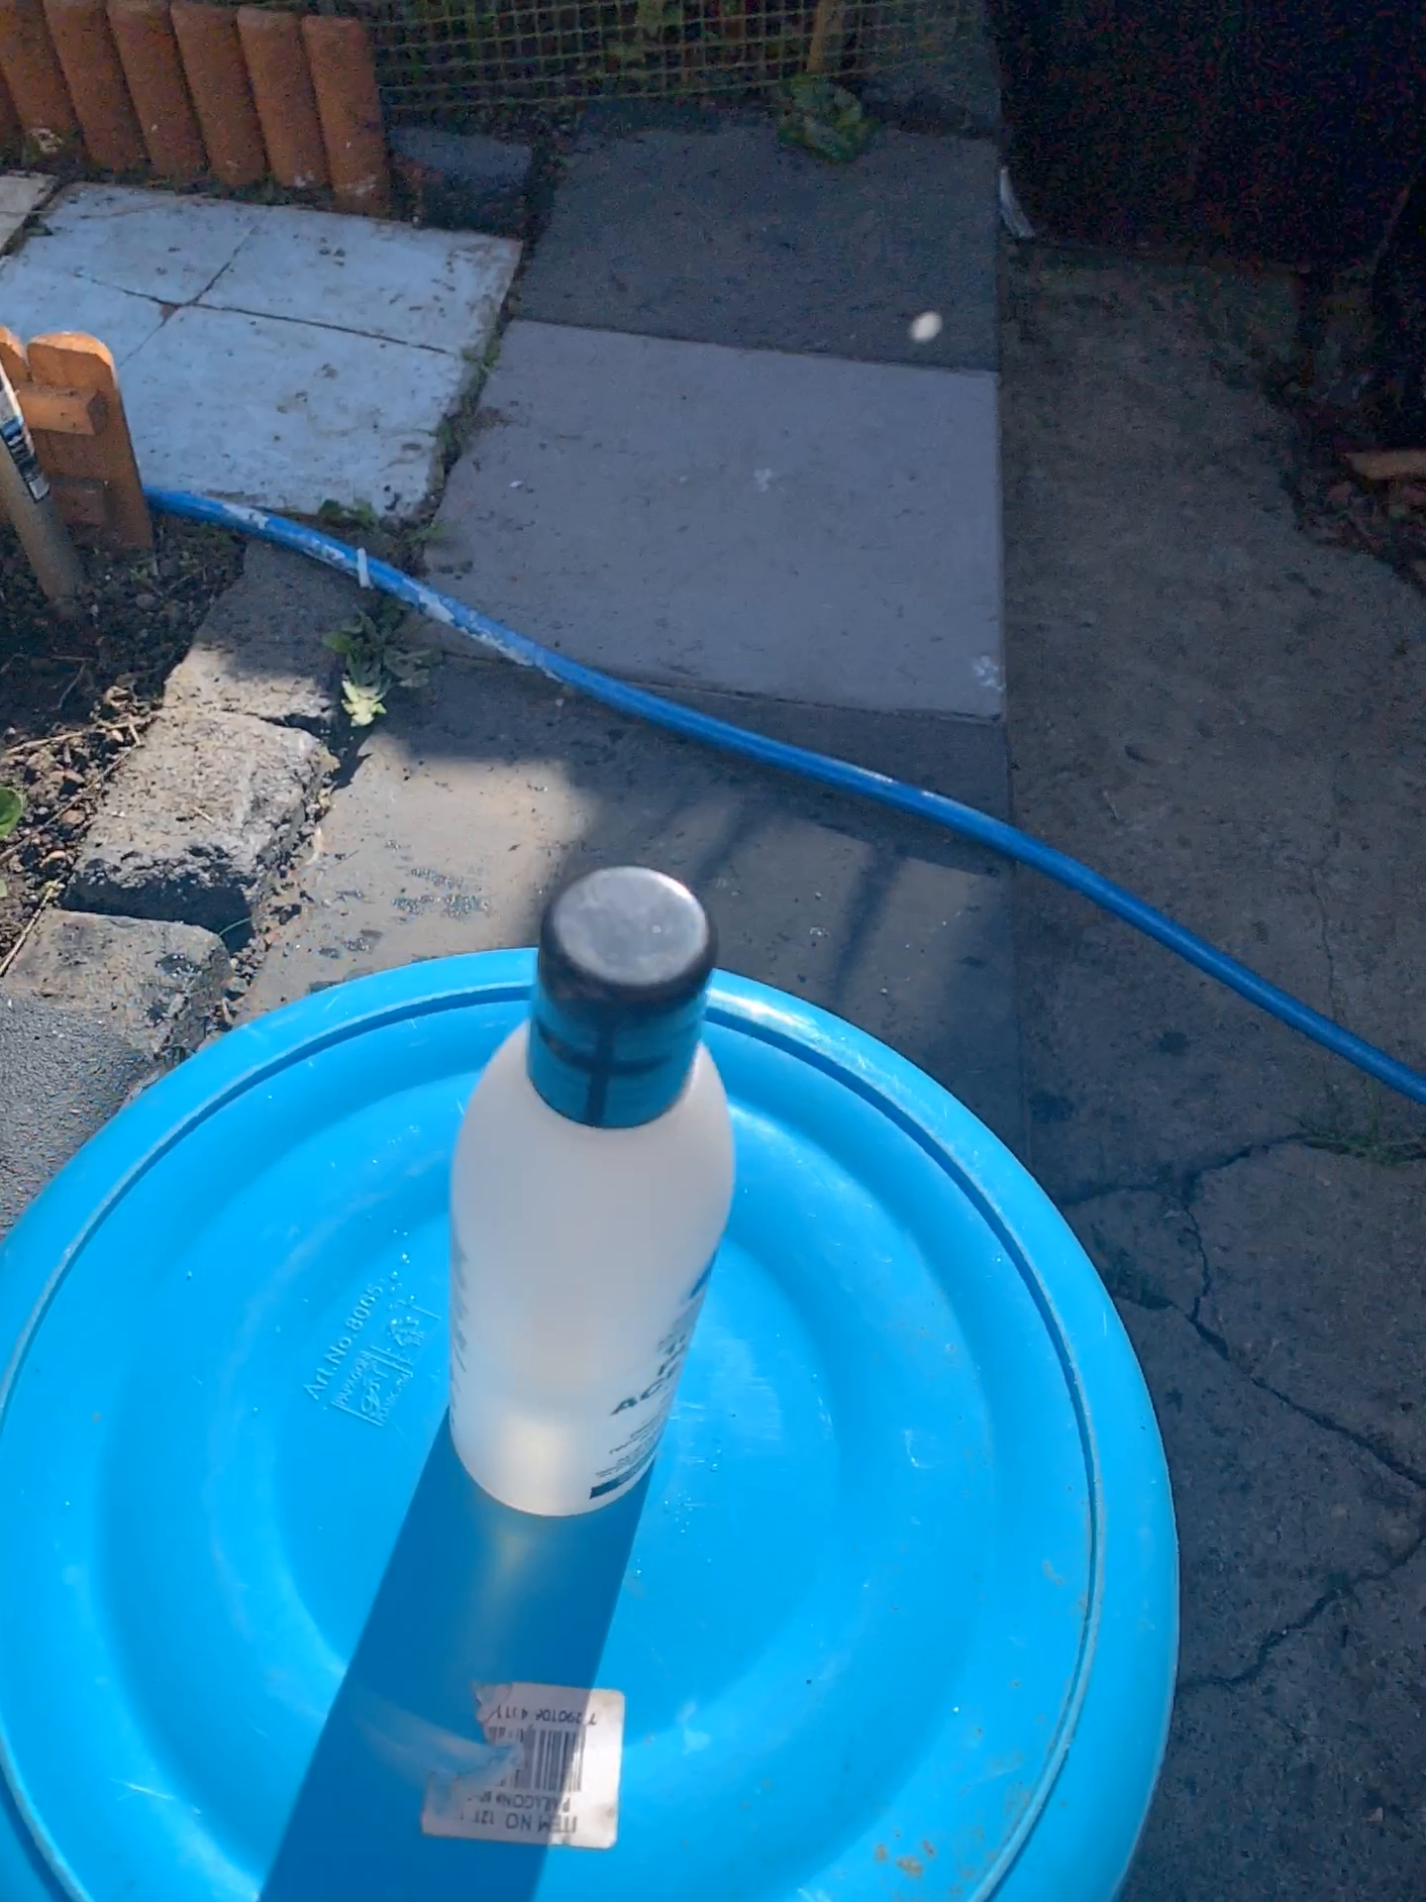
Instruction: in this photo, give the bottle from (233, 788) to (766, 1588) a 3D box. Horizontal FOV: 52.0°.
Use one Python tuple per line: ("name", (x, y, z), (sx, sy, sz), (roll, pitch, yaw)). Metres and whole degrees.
("bottle", (-0.033, 0.058, 0.278), (0.060, 0.178, 0.061), (2, 52, -3))
